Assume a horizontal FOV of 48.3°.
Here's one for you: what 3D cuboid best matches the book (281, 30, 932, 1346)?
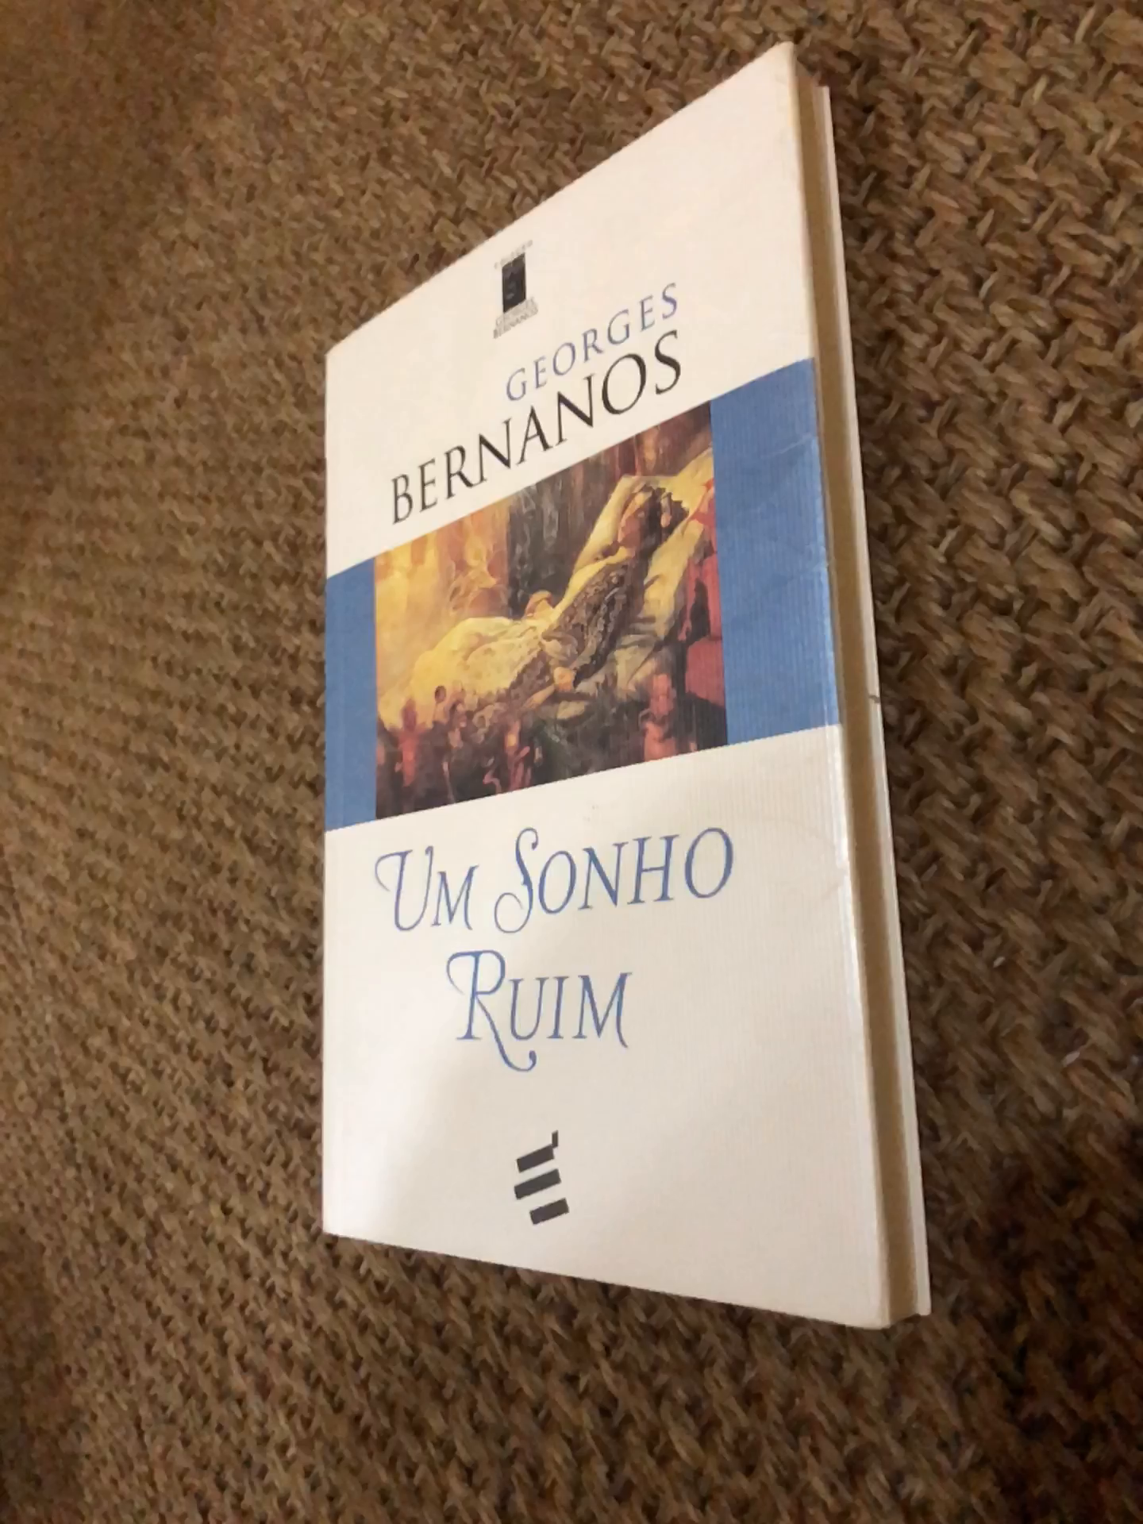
[{"bbox_3d":[-0.008,-0.009,0.243,0.141,0.020,0.199,-13,74,45],"label":"book"}]
